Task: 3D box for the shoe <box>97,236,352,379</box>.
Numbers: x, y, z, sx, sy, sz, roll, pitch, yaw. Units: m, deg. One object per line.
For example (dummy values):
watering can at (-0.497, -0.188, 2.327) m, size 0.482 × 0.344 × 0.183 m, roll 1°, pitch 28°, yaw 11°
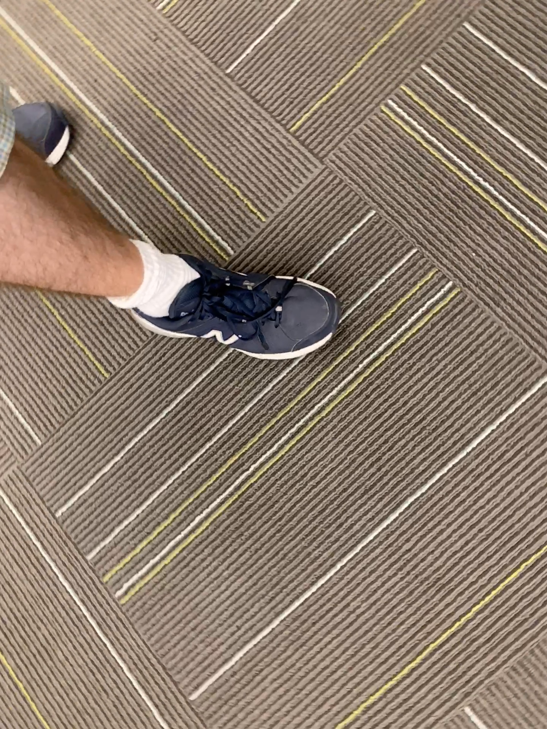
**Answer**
shoe at (-0.065, -0.077, 0.743) m, size 0.310 × 0.070 × 0.130 m, roll 11°, pitch 86°, yaw 14°
